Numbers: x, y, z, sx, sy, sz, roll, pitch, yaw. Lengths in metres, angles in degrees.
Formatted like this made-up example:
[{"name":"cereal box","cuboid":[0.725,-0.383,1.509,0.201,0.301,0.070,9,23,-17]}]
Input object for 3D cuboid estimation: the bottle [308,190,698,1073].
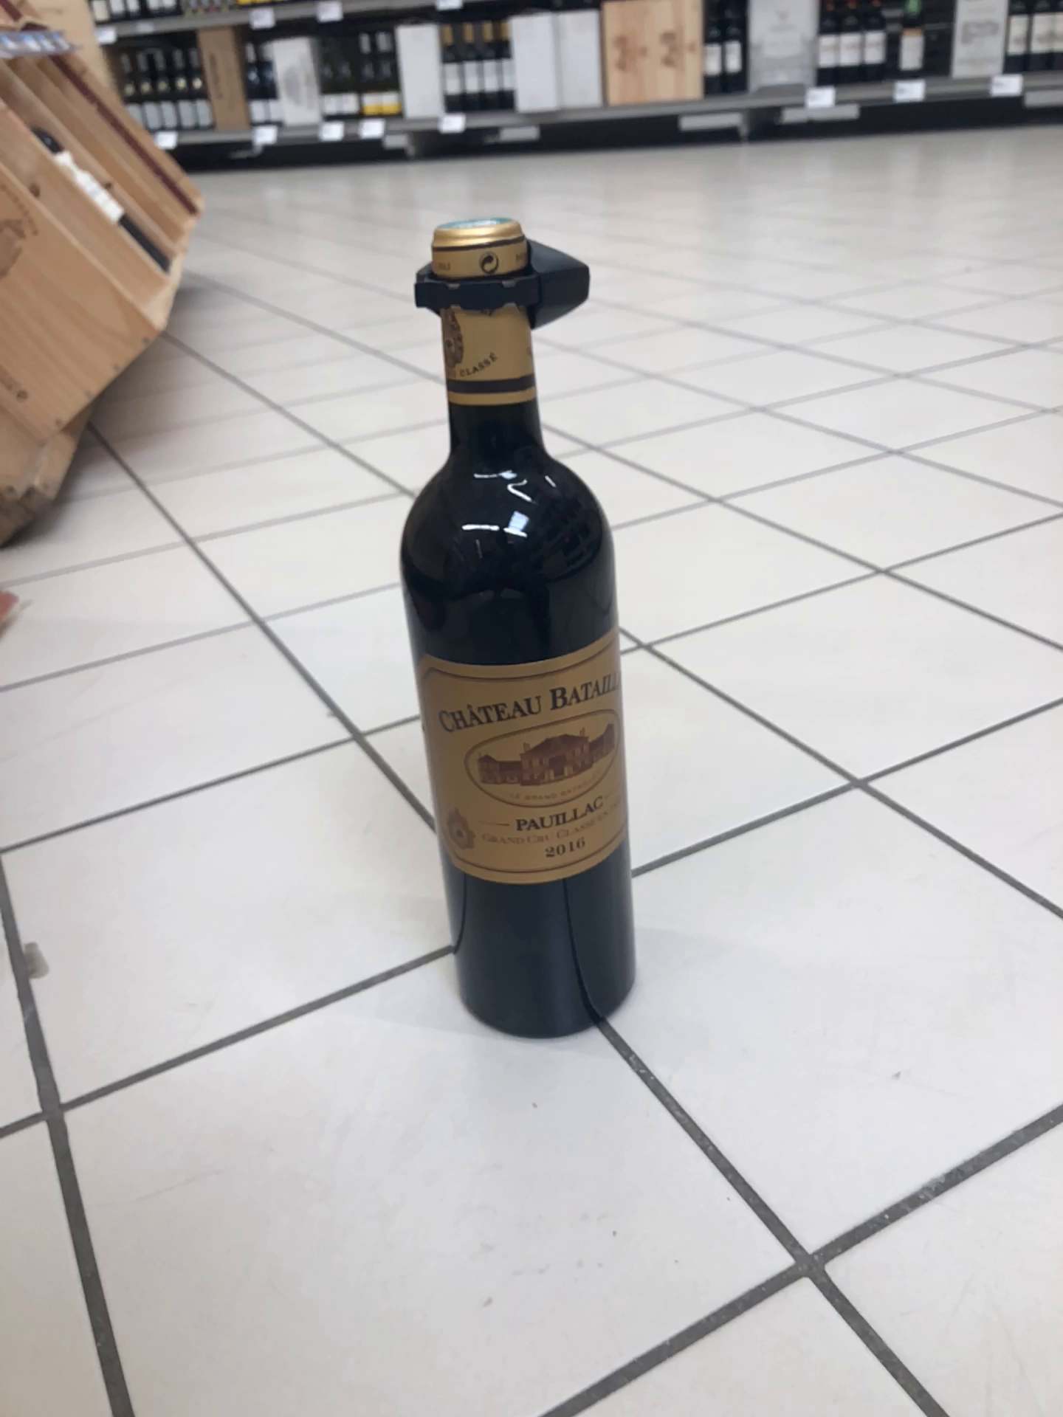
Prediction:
[{"name":"bottle","cuboid":[-0.003,-0.021,0.422,0.090,0.288,0.090,-4,28,2]}]
